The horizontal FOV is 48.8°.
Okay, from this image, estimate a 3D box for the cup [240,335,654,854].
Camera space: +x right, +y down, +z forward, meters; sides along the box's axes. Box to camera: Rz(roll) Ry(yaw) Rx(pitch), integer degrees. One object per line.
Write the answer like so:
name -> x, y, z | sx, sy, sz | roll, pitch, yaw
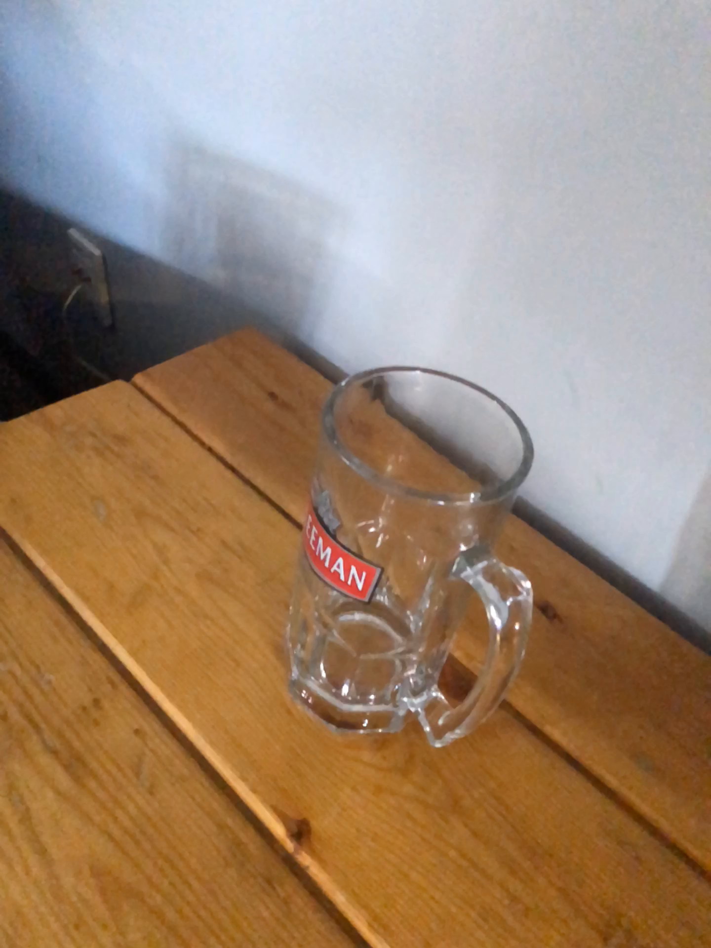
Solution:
cup -> 0.025, 0.065, 0.427 | 0.110, 0.209, 0.160 | -15, 49, -27
